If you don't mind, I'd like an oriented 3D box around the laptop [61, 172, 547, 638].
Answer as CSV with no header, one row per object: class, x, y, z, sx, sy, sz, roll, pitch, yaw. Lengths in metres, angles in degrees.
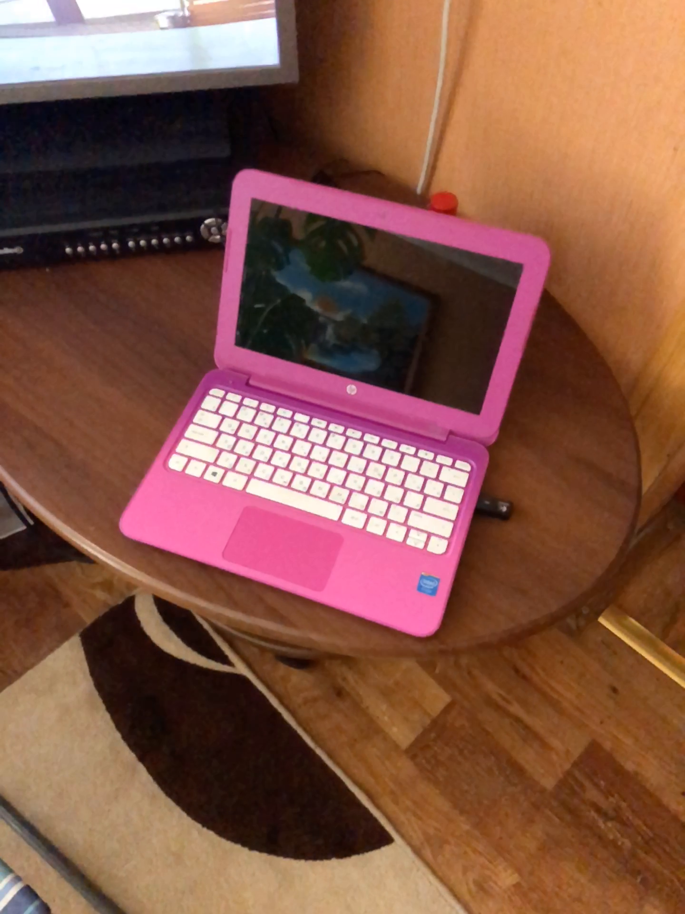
laptop,-0.012,-0.056,0.627,0.279,0.150,0.296,17,59,11
